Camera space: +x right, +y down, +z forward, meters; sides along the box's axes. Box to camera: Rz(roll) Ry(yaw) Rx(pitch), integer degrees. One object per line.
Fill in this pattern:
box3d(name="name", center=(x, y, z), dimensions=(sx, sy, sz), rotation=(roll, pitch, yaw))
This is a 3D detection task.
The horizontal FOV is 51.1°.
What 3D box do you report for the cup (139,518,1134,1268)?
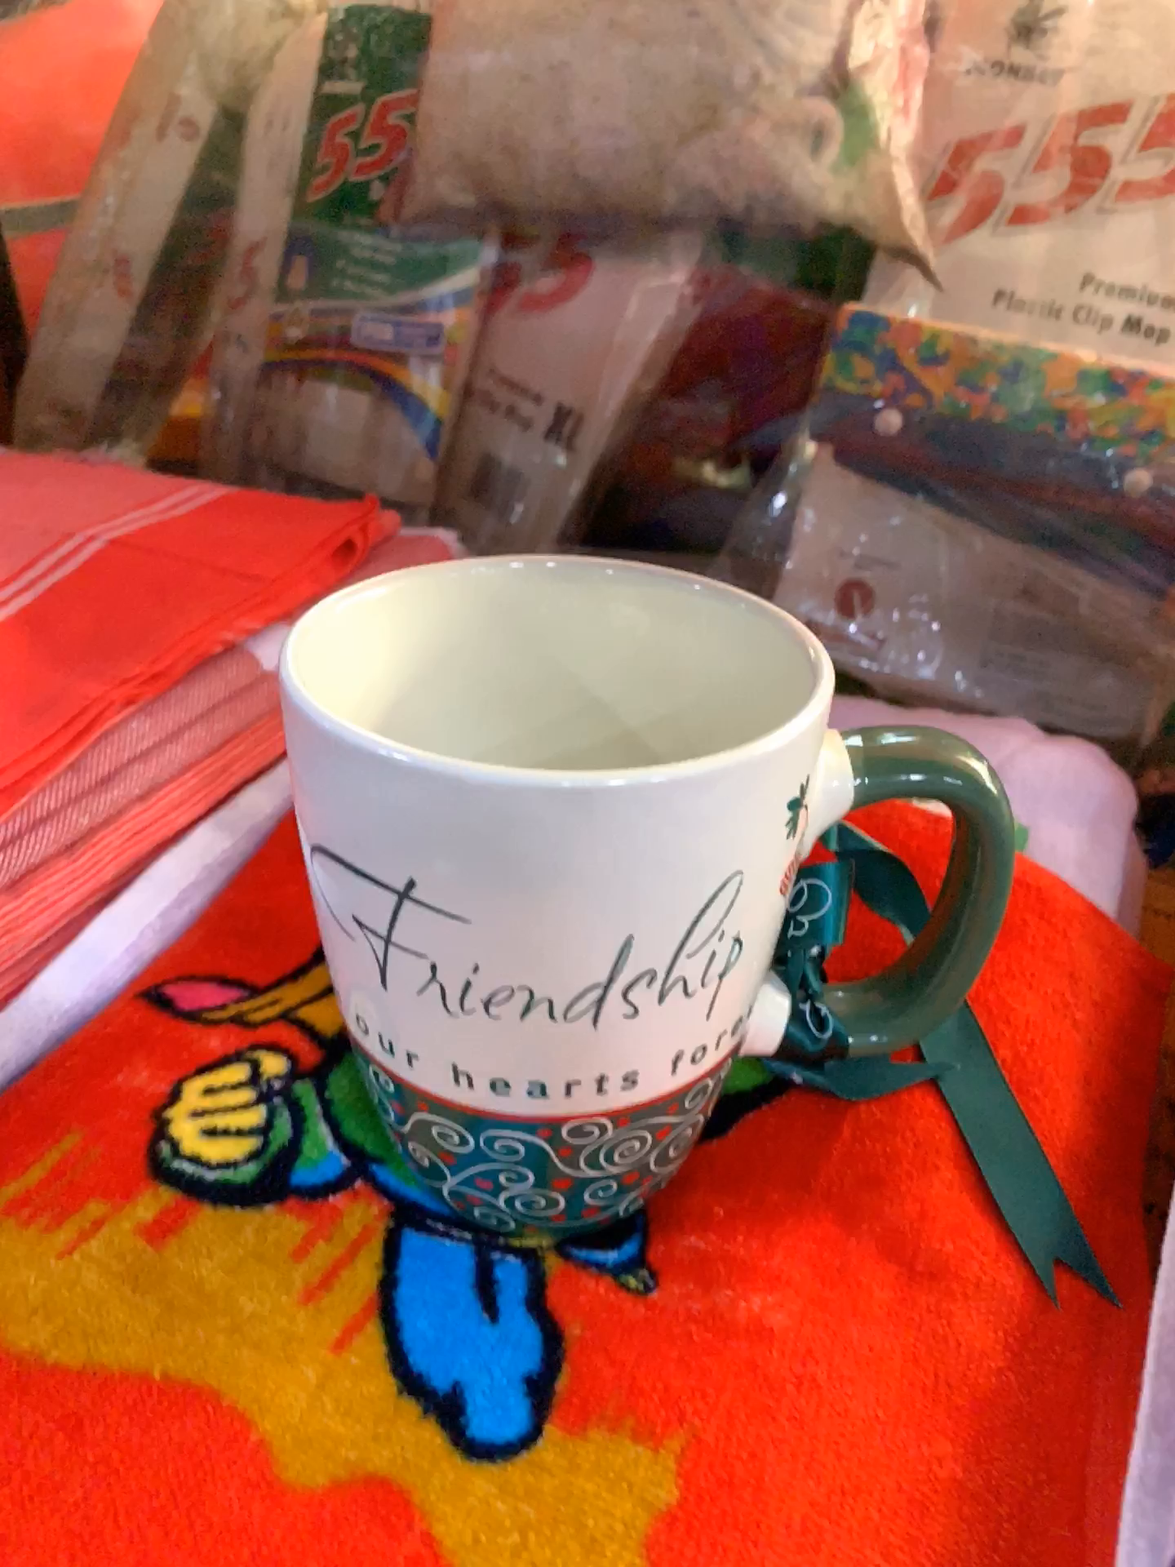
box3d(name="cup", center=(0.004, 0.013, 0.229), dimensions=(0.132, 0.094, 0.101), rotation=(-1, 31, -4))
